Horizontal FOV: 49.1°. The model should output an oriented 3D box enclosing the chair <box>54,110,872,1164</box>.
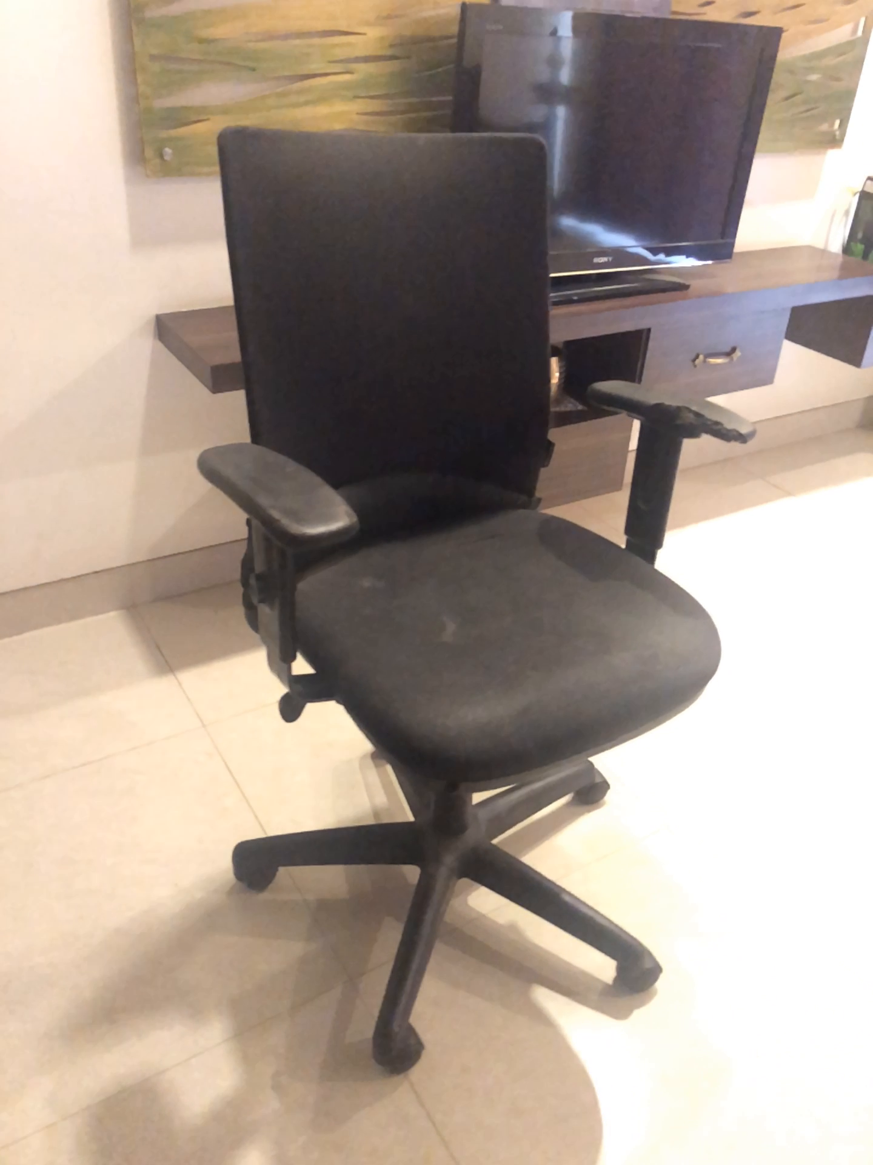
[{"bbox_3d":[0.049,0.012,1.245,0.712,1.042,0.703,-18,38,-30],"label":"chair"}]
